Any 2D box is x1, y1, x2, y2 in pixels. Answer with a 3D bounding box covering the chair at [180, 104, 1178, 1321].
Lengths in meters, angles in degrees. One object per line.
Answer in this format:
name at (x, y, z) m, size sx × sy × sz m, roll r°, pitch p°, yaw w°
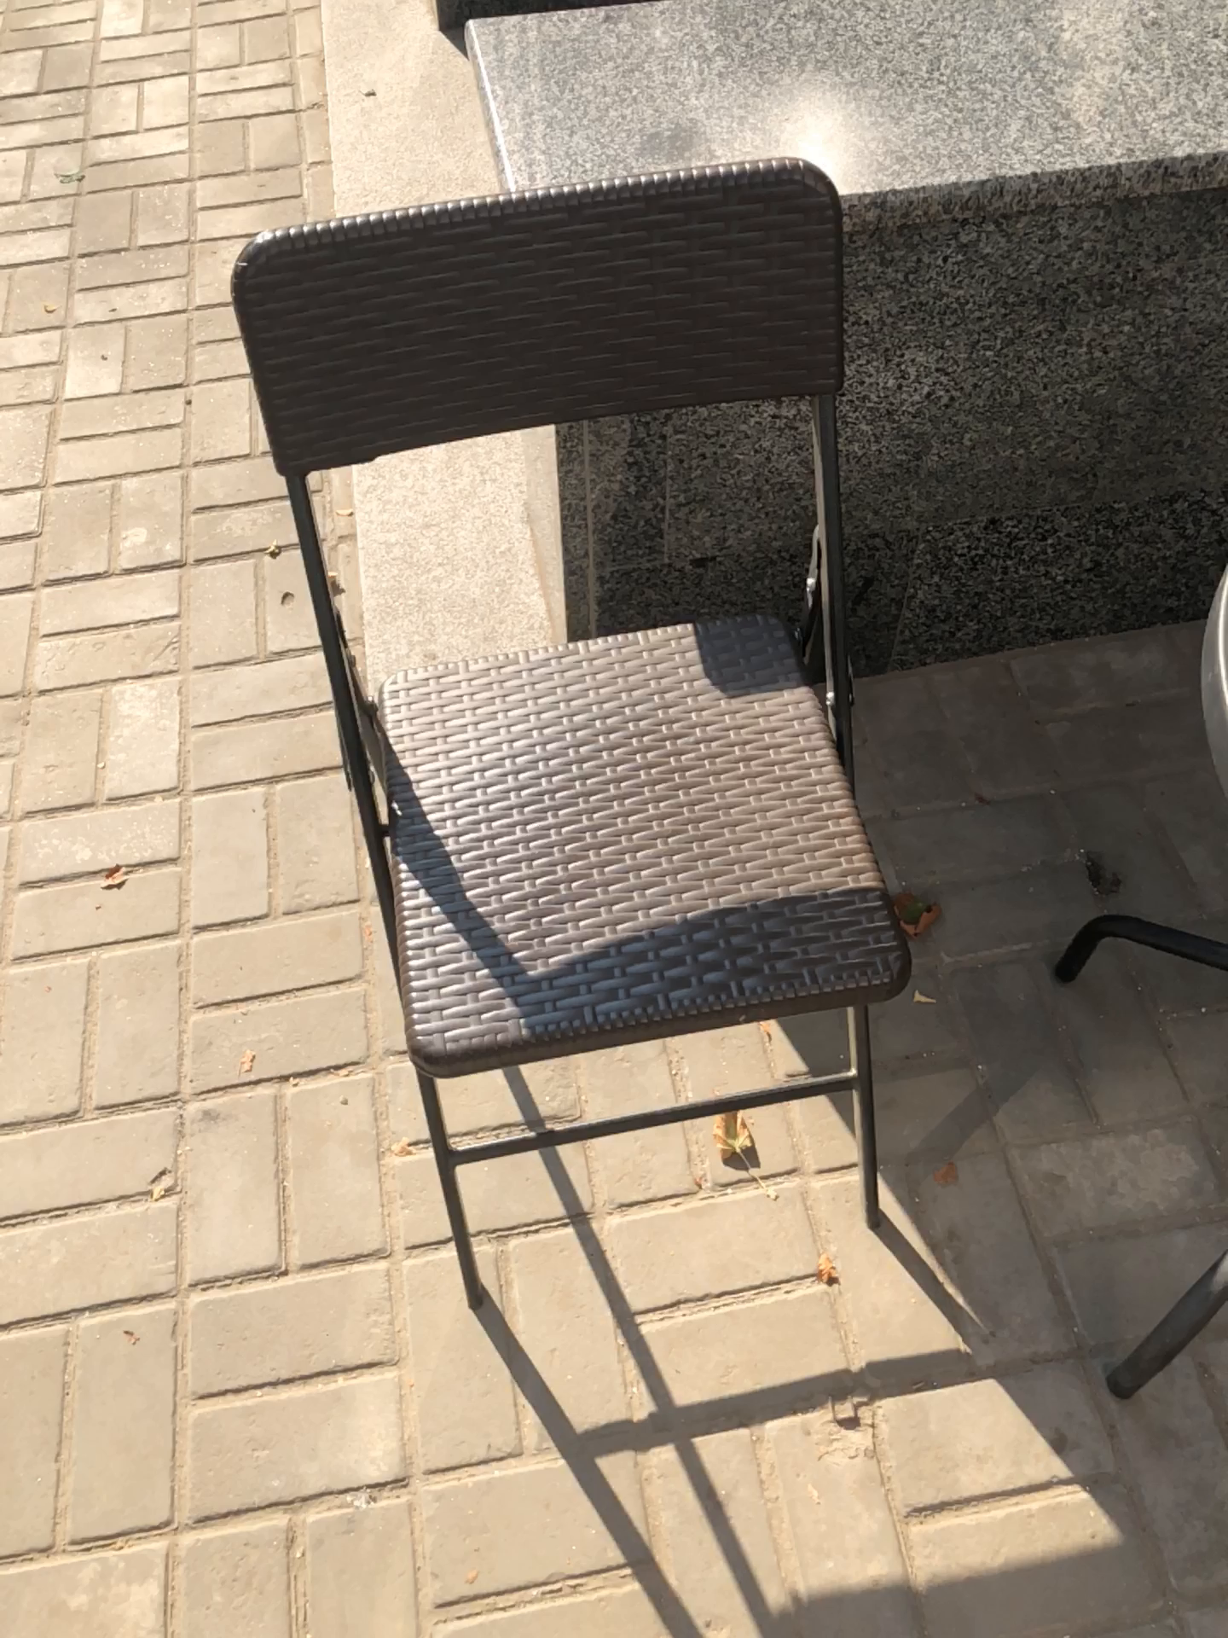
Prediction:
chair at (-0.002, -0.010, 1.030) m, size 0.430 × 0.788 × 0.461 m, roll -10°, pitch 54°, yaw -7°
